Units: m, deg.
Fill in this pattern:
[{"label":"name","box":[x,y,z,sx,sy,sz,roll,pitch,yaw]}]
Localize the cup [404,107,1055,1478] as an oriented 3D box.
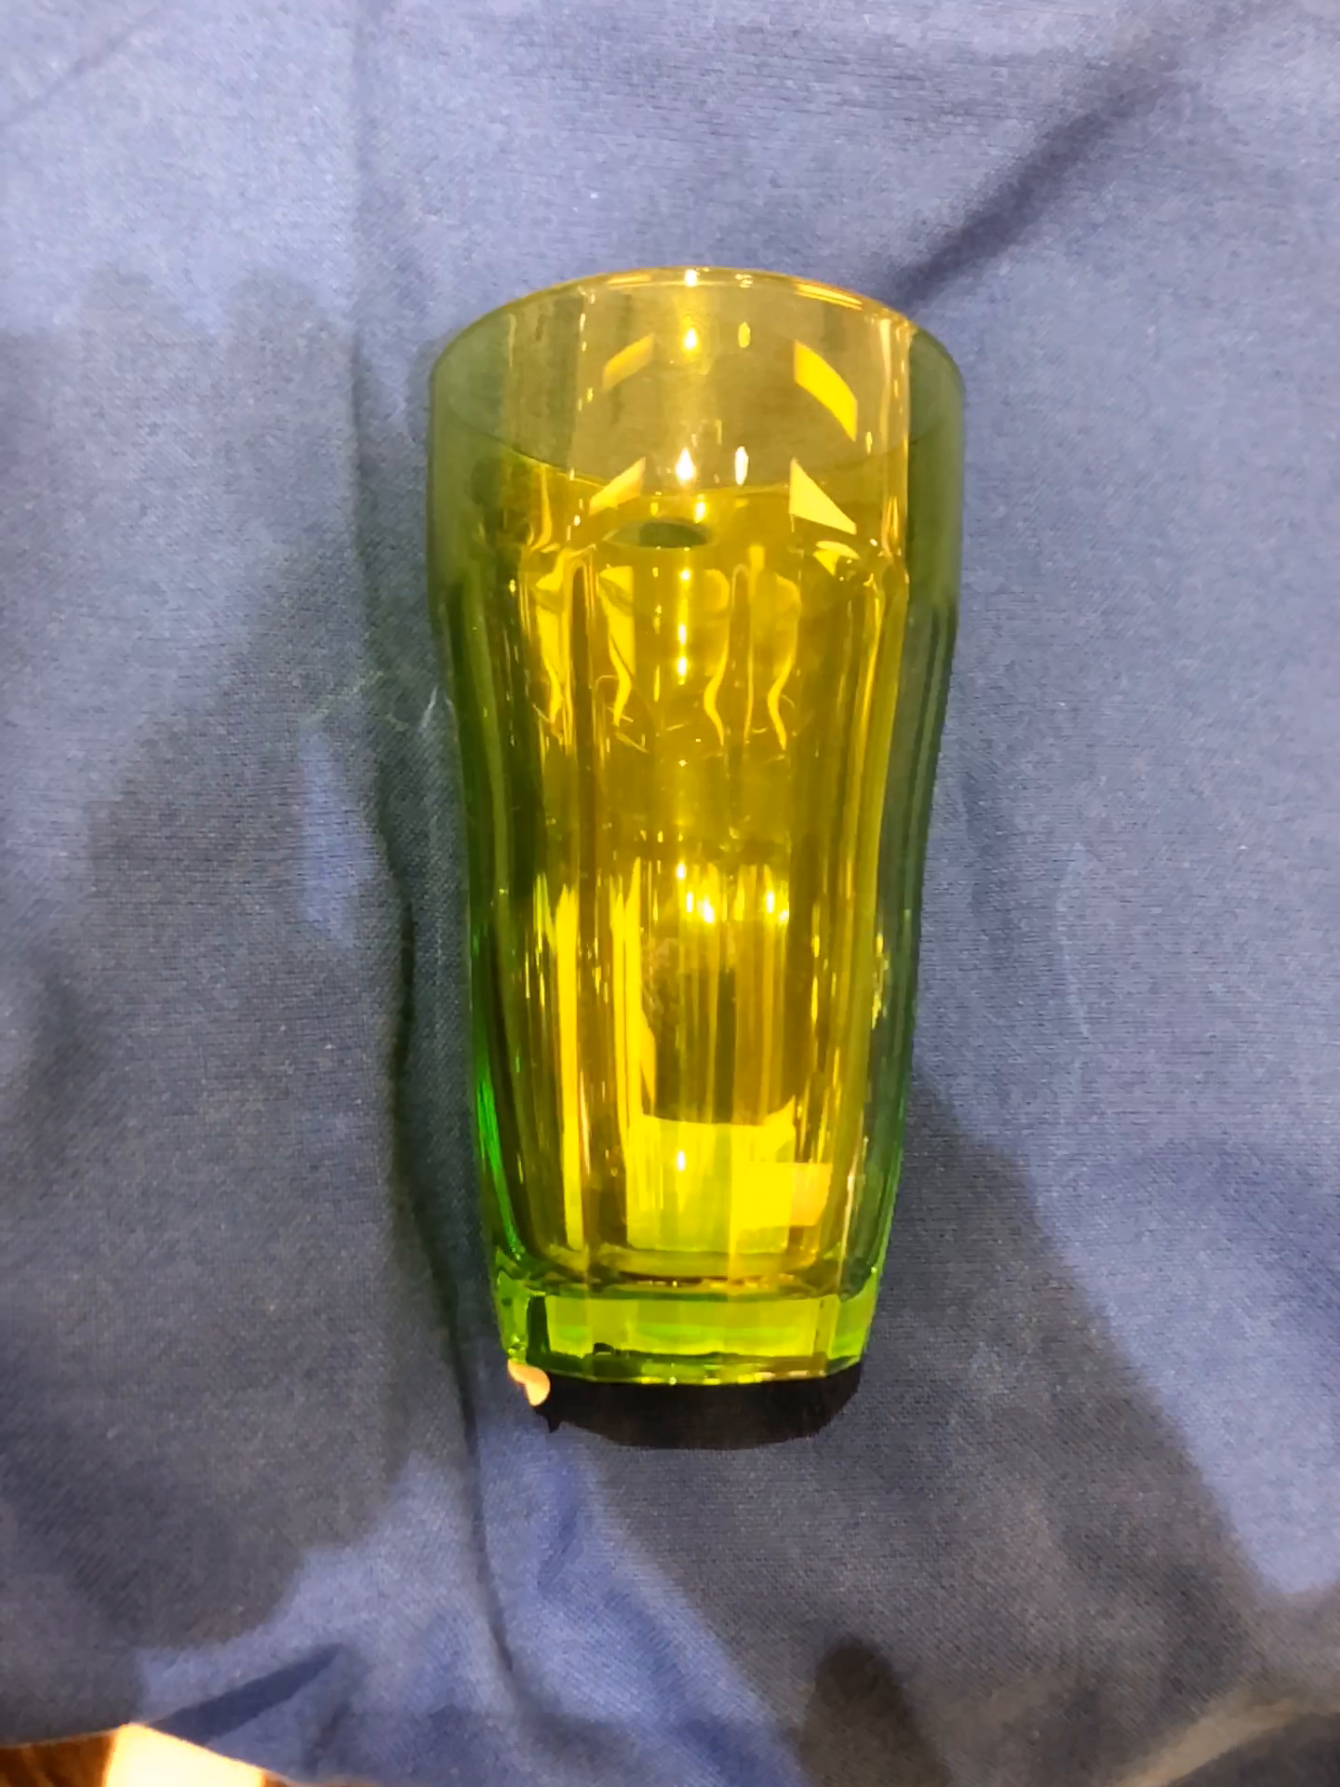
[{"label":"cup","box":[0.002,-0.011,0.215,0.070,0.070,0.160,1,82,-17]}]
